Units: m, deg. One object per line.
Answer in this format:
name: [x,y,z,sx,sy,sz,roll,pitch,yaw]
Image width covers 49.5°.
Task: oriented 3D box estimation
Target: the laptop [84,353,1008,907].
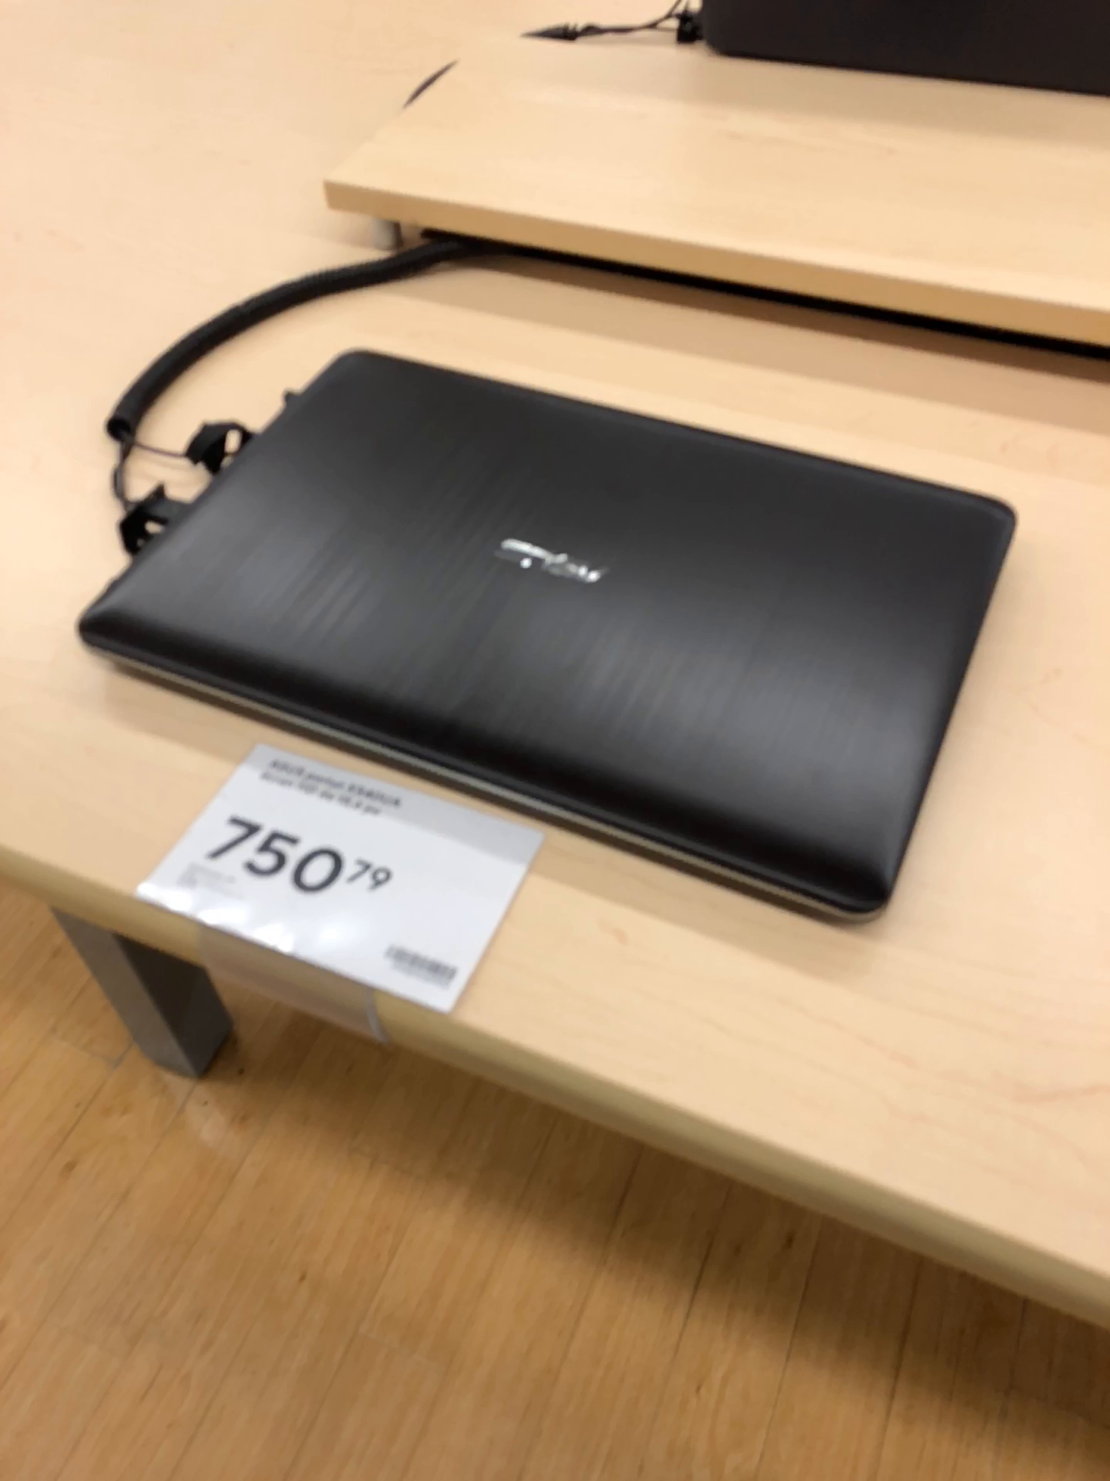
laptop: [-0.002,-0.078,0.566,0.369,0.010,0.228,19,55,18]
